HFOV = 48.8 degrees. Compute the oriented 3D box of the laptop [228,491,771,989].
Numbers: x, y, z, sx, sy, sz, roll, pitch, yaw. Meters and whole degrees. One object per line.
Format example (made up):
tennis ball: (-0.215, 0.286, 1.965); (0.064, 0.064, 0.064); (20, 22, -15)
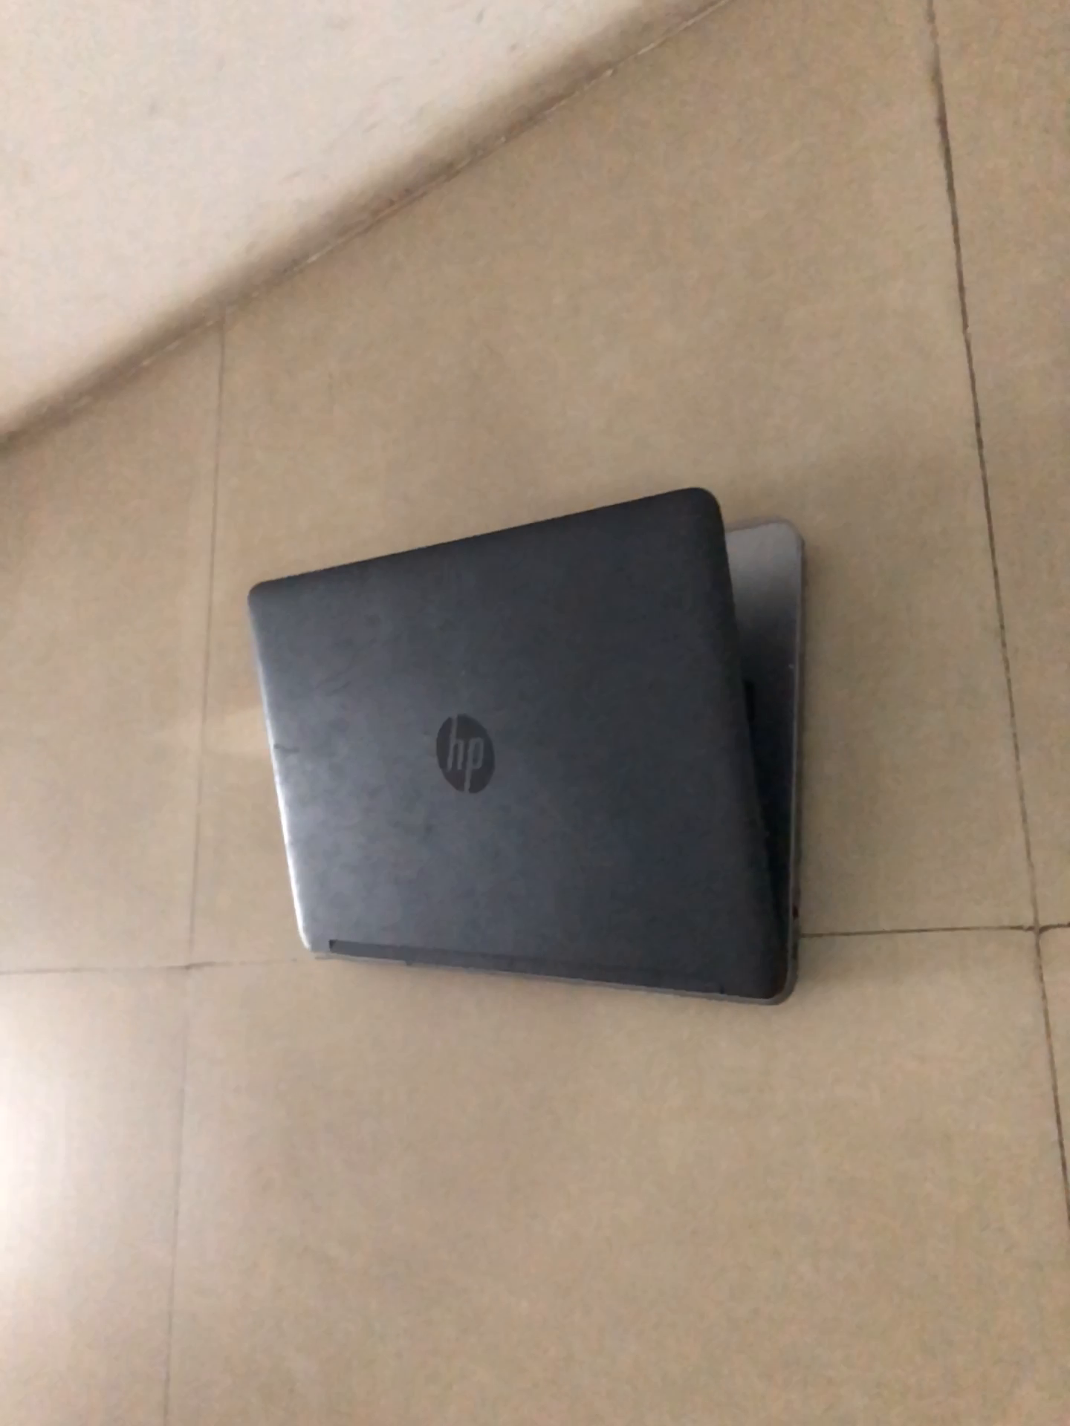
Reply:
laptop: (-0.031, 0.025, 0.633); (0.306, 0.084, 0.214); (-5, 80, 40)
